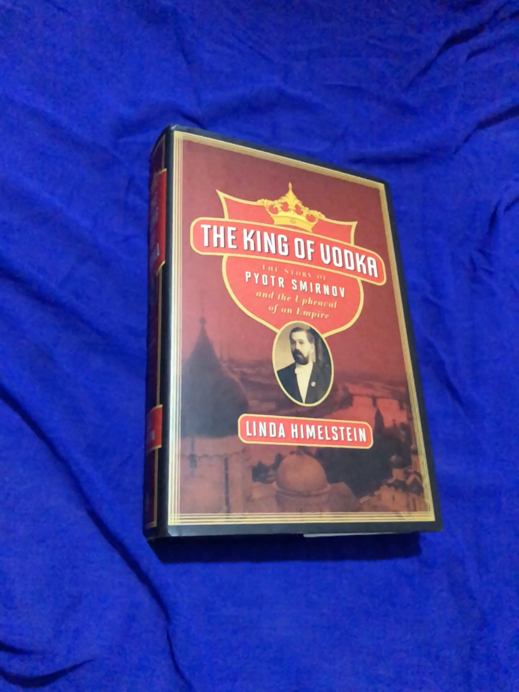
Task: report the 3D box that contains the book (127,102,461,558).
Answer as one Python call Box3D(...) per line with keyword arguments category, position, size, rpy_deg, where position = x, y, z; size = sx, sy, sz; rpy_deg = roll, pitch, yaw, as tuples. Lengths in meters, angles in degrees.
Box3D(category="book", position=(0.013, -0.012, 0.349), size=(0.171, 0.050, 0.250), rpy_deg=(6, 66, -23))
